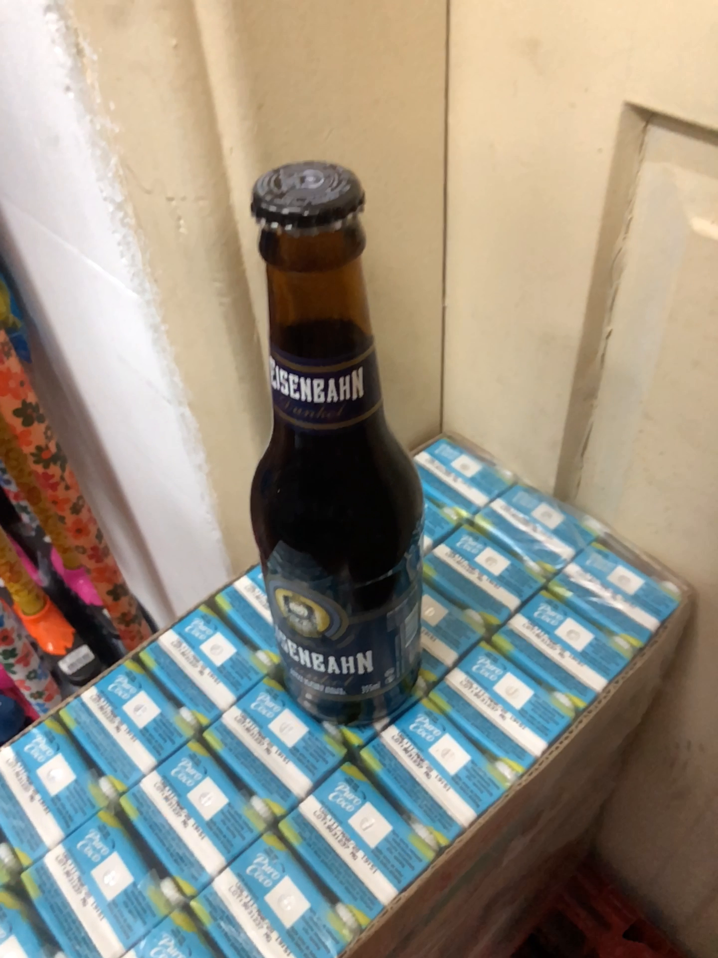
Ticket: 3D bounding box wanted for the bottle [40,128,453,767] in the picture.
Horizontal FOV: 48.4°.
[{"bbox_3d":[-0.018,0.007,0.250,0.070,0.199,0.060,20,53,22],"label":"bottle"}]
